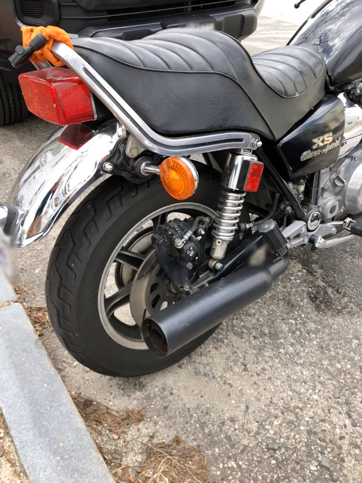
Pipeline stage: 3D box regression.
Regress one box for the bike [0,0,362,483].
[{"bbox_3d":[0.575,-0.454,1.421,2.304,1.418,0.688,-27,44,-31],"label":"bike"}]
